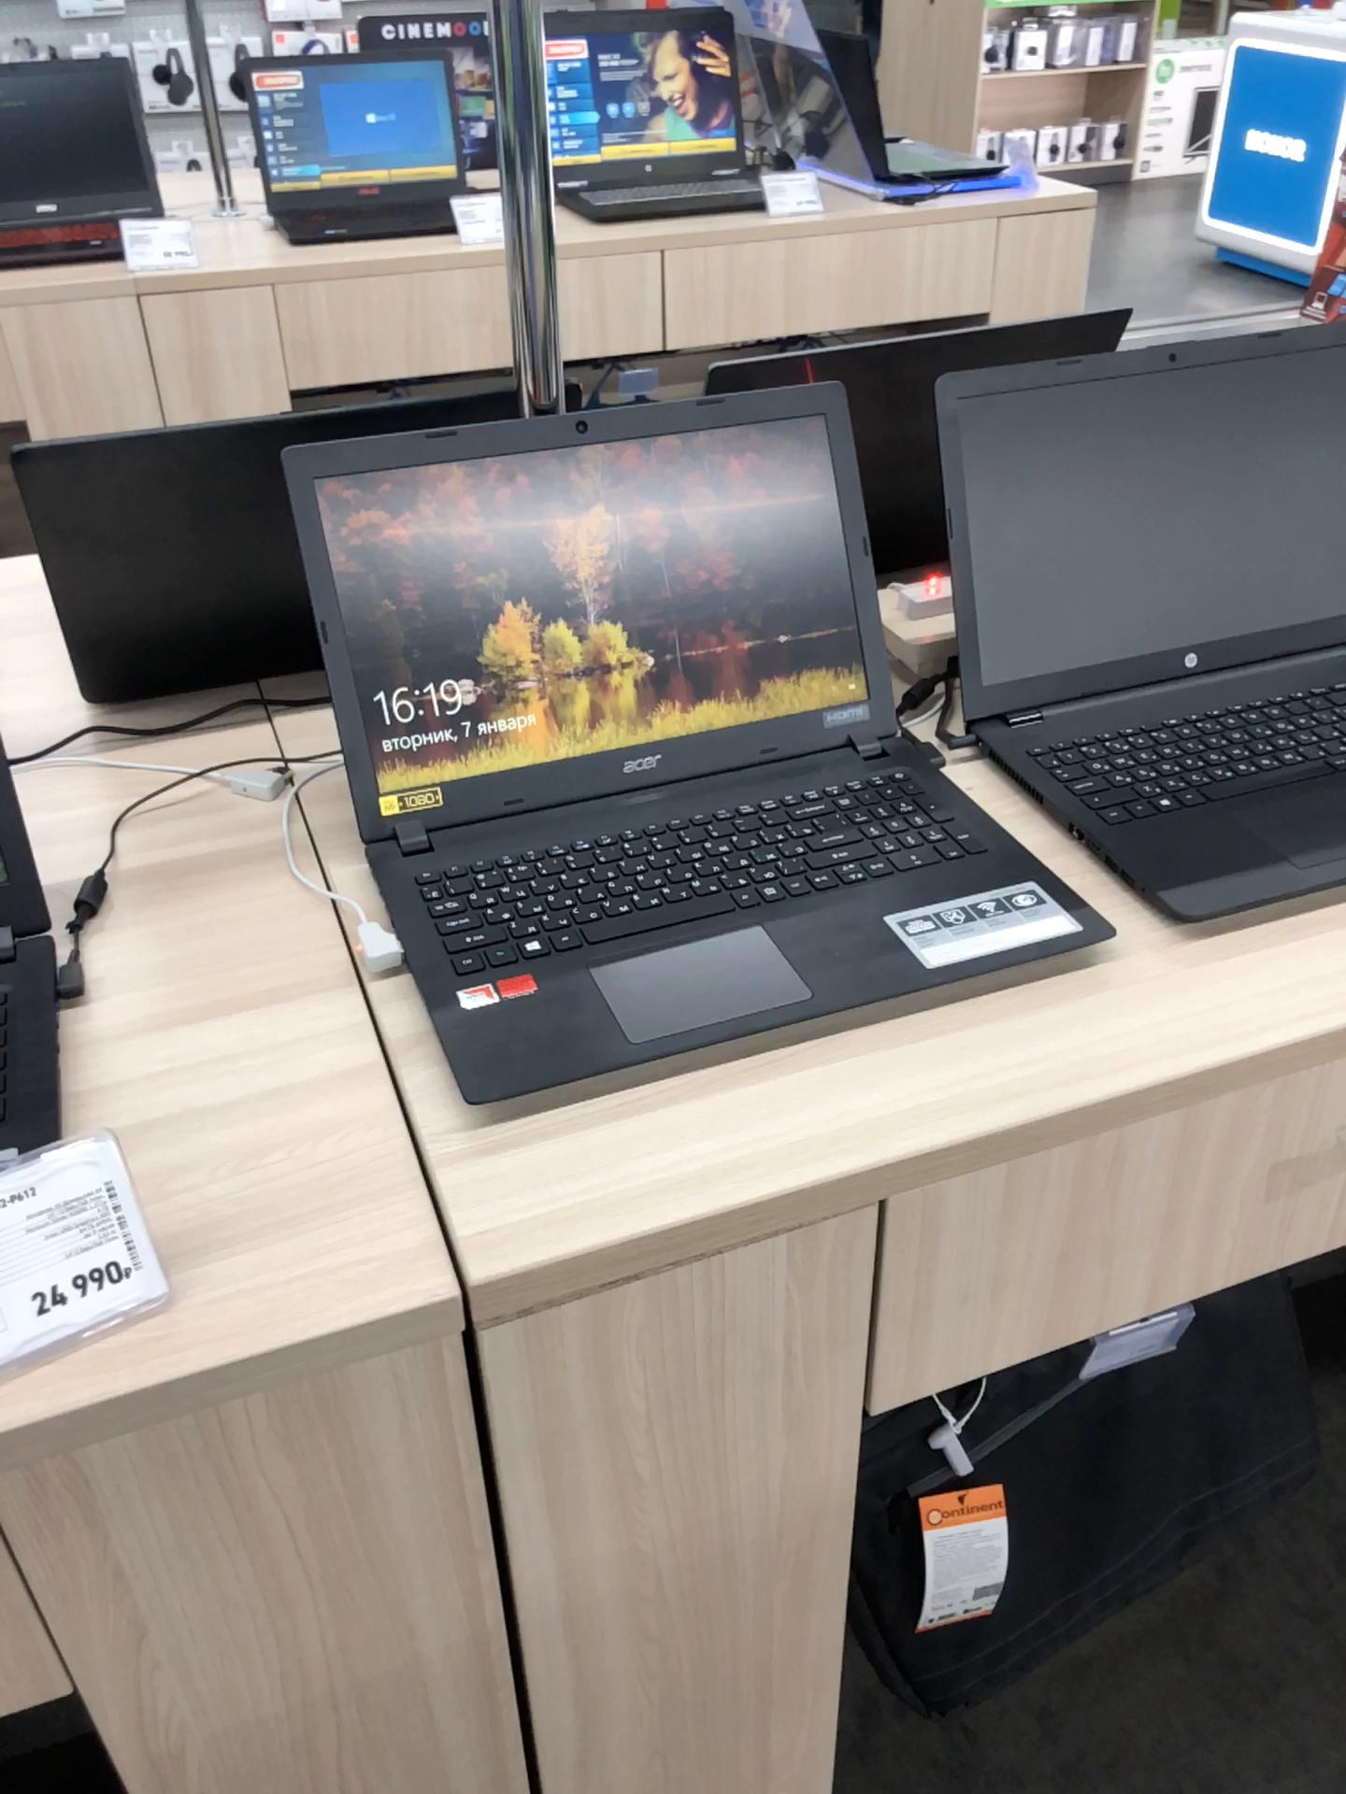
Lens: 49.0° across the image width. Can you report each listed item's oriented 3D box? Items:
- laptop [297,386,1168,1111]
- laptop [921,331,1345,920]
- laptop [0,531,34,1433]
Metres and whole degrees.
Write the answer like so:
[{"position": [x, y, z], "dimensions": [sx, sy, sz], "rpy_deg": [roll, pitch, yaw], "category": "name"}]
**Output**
[{"position": [0.010, -0.122, 0.863], "dimensions": [0.373, 0.208, 0.369], "rpy_deg": [-13, 36, -17], "category": "laptop"}, {"position": [0.406, -0.205, 0.968], "dimensions": [0.378, 0.212, 0.339], "rpy_deg": [-12, 35, -16], "category": "laptop"}, {"position": [-0.485, 0.008, 0.679], "dimensions": [0.306, 0.214, 0.302], "rpy_deg": [-12, 37, -16], "category": "laptop"}]
